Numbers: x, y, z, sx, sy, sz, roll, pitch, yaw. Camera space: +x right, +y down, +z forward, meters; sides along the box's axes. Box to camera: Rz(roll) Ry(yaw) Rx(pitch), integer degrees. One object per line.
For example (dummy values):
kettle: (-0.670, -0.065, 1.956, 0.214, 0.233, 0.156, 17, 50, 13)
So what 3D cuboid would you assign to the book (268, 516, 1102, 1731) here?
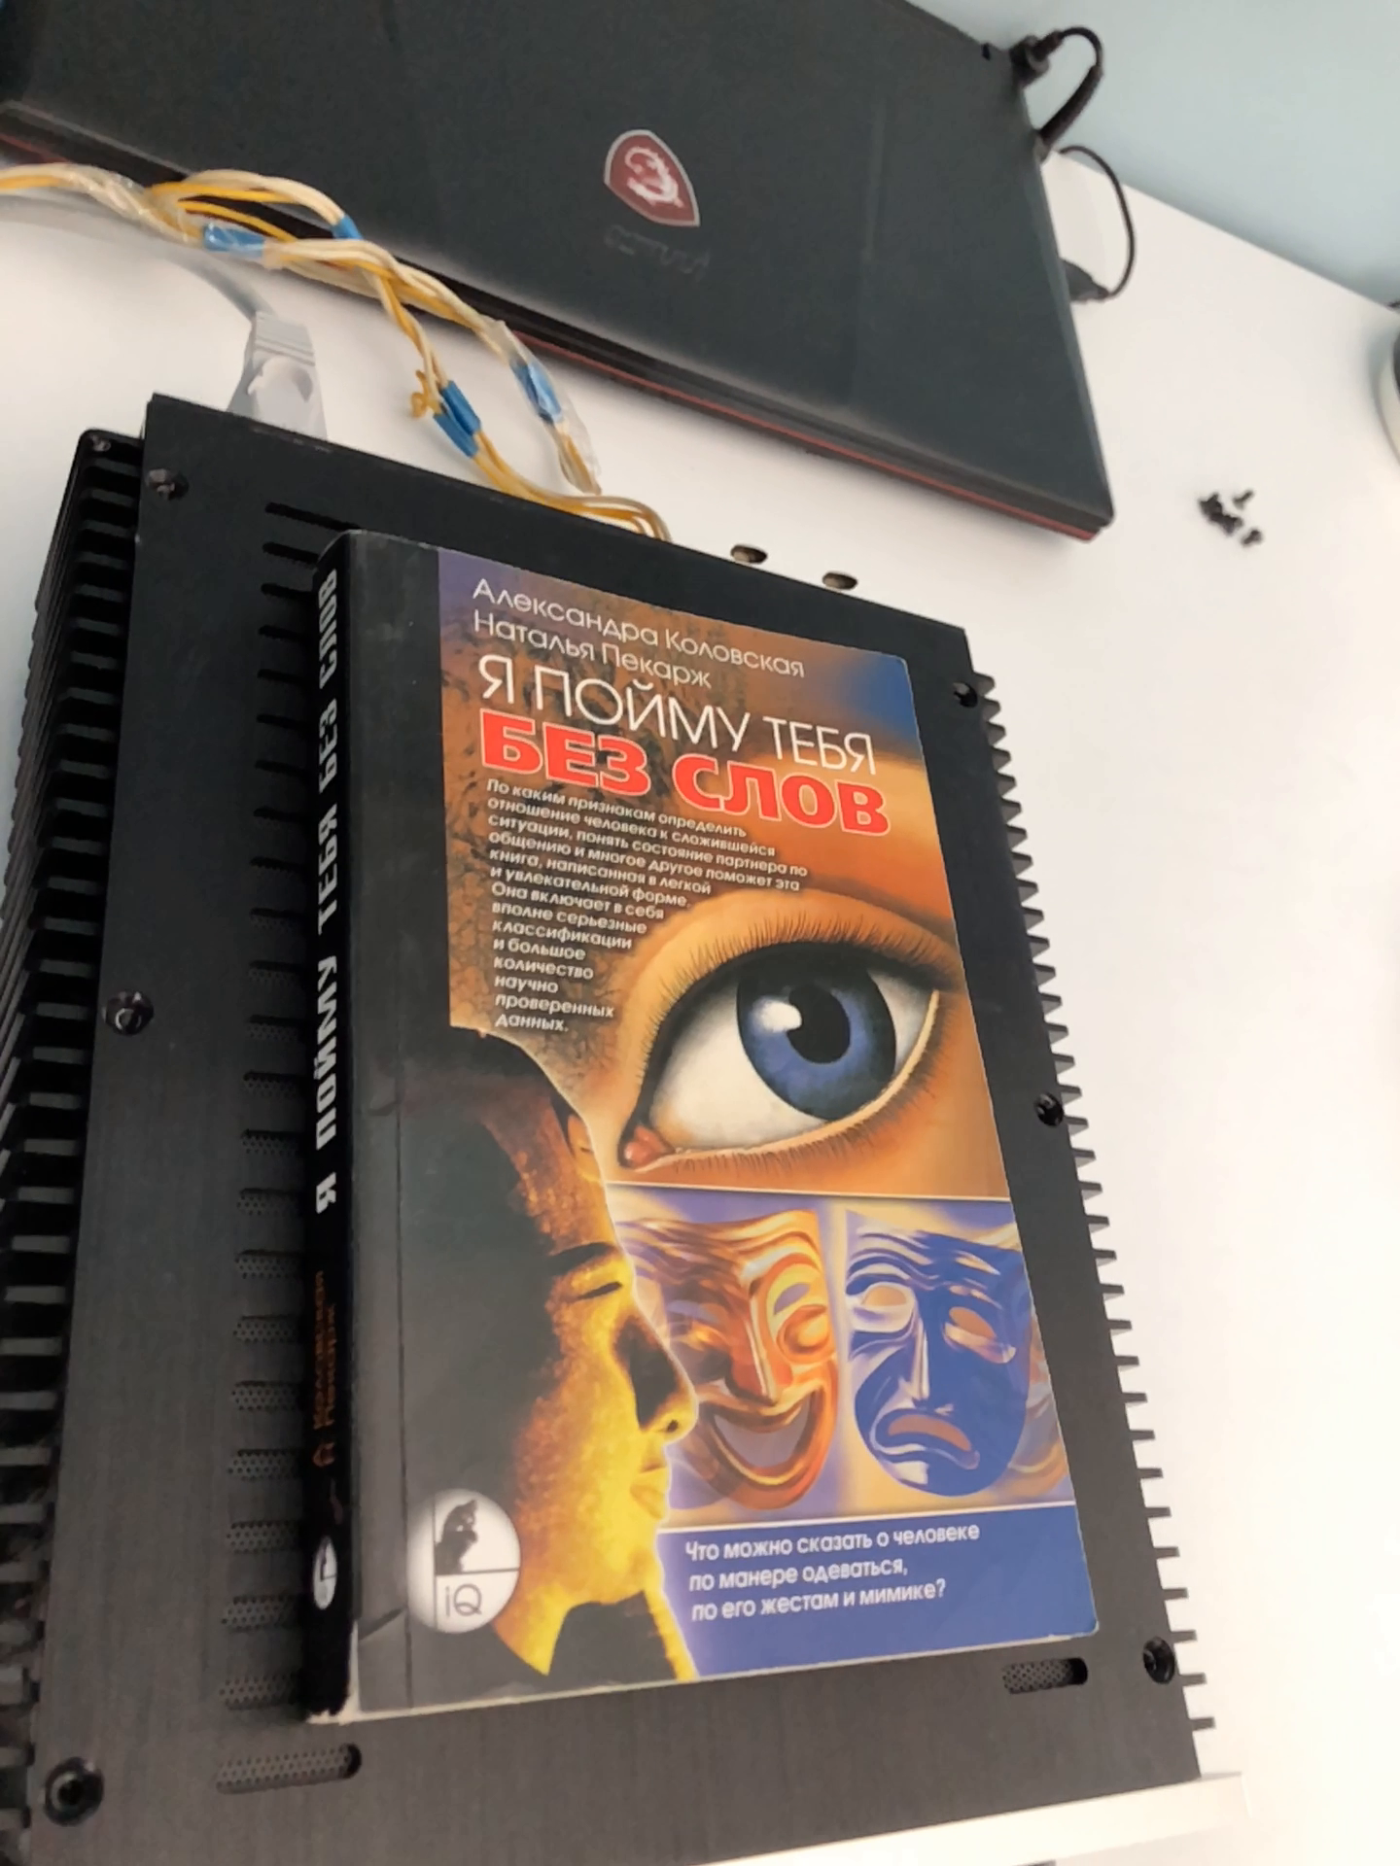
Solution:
book: (-0.005, 0.024, 0.260, 0.123, 0.023, 0.183, 8, 61, -28)
